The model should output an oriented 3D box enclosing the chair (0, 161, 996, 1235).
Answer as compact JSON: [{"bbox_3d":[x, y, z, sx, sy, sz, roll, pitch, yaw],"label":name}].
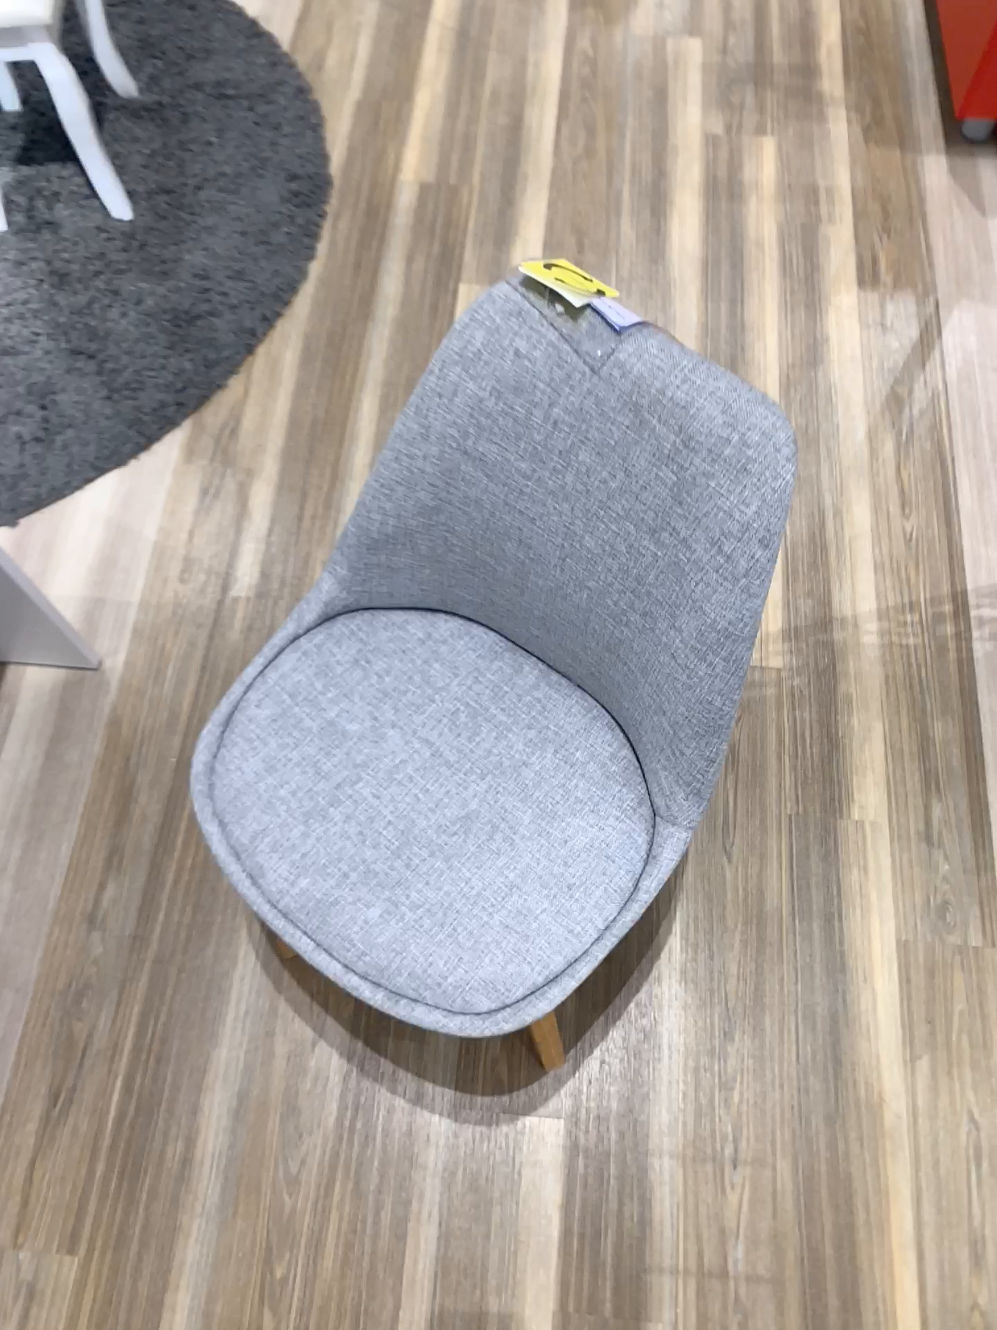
[{"bbox_3d":[-0.028,0.119,1.026,0.514,0.858,0.516,34,71,15],"label":"chair"}]
